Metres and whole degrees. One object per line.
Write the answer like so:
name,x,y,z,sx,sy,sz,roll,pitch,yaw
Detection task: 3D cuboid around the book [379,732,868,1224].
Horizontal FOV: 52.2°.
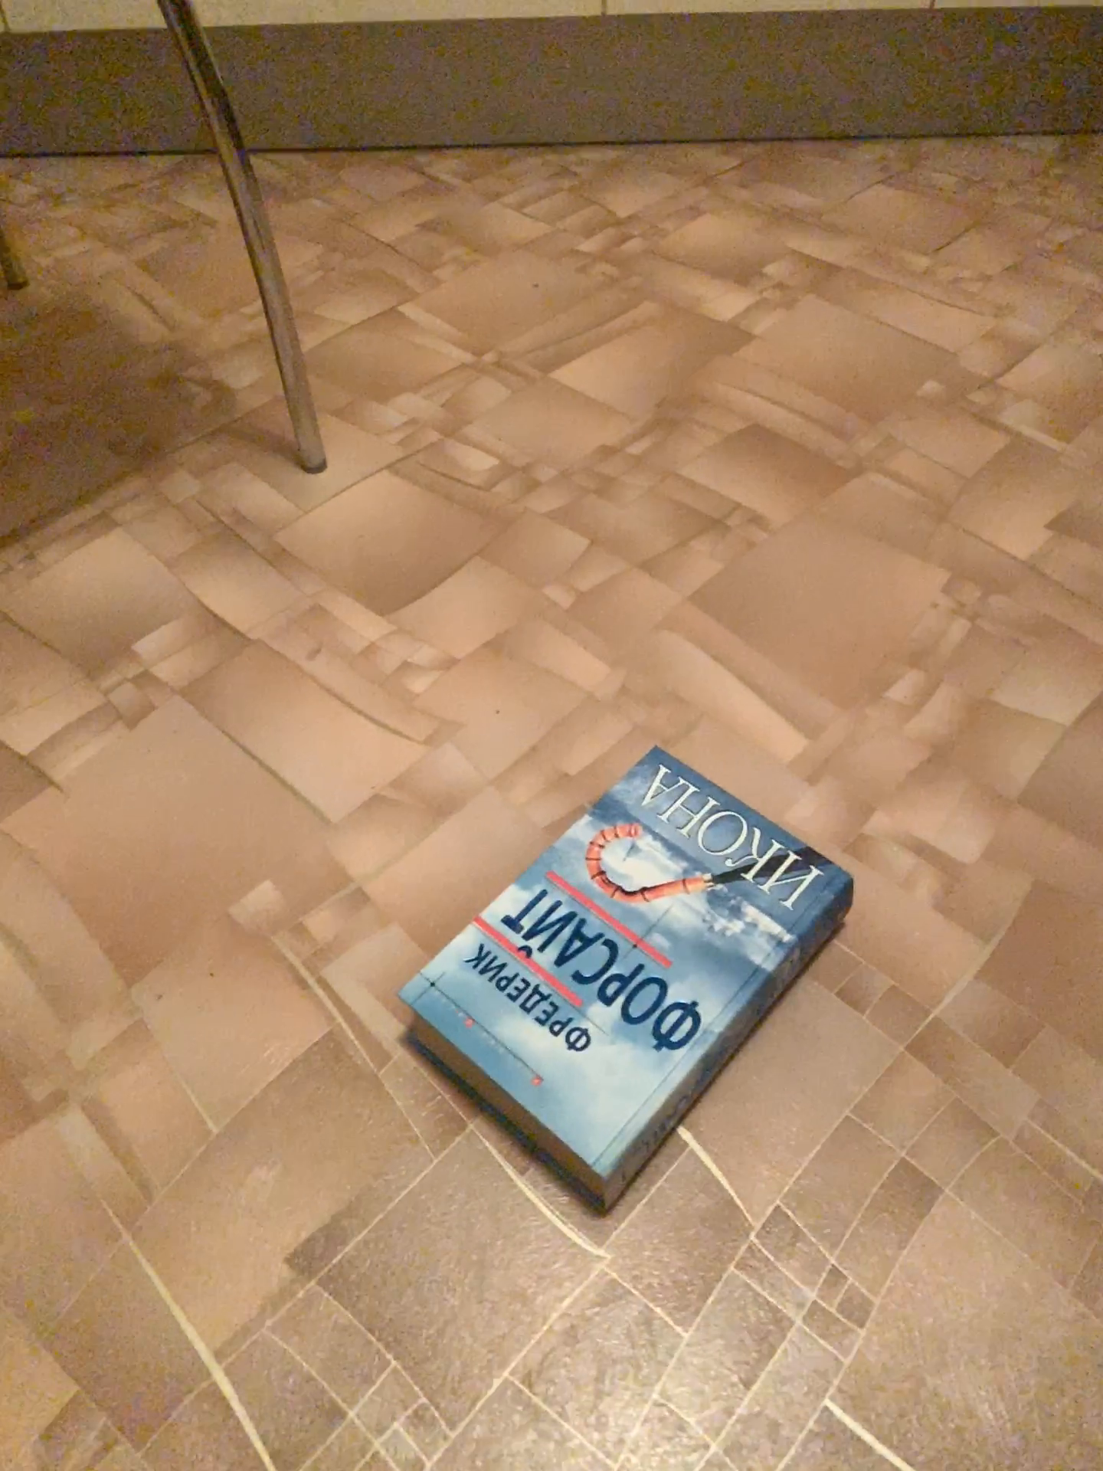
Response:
book,0.043,0.118,0.618,0.153,0.056,0.224,34,58,25
